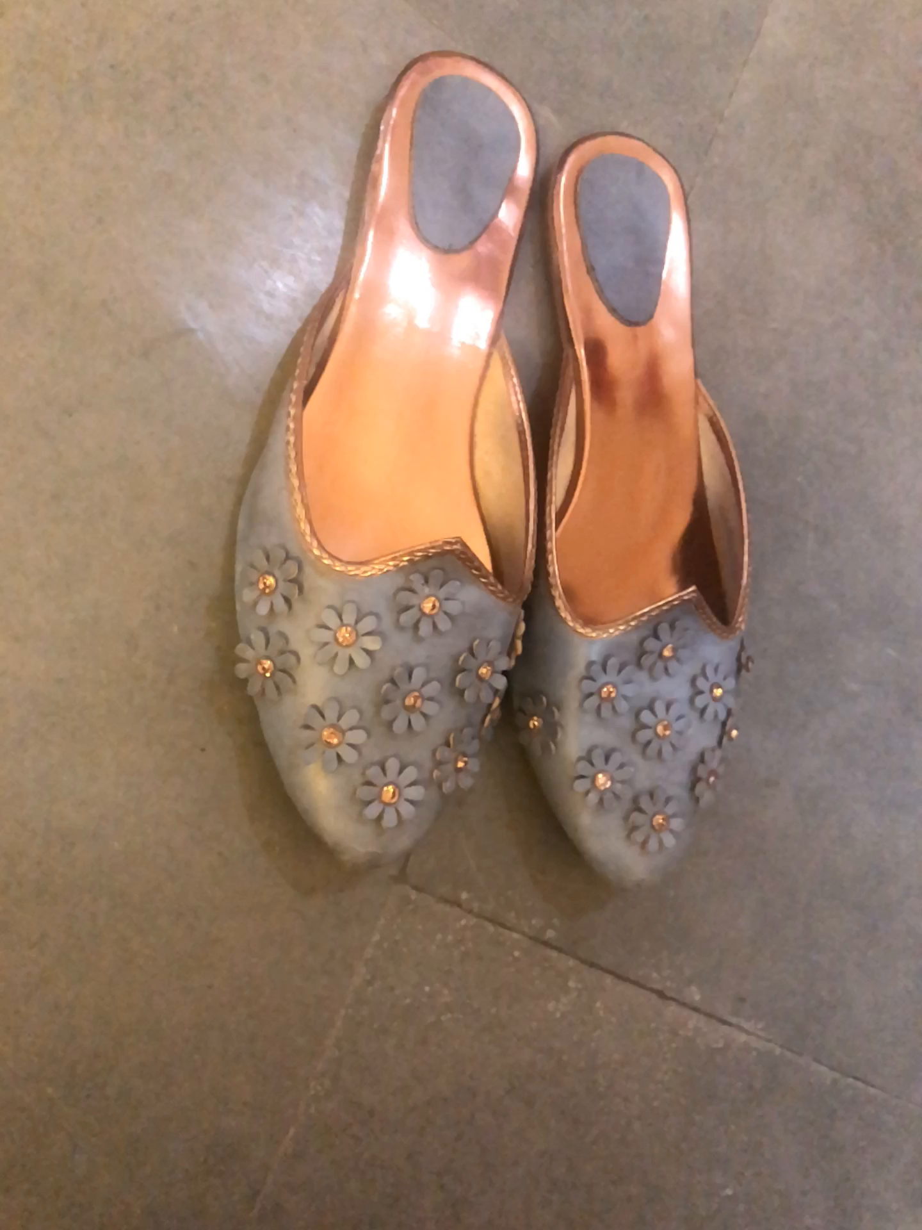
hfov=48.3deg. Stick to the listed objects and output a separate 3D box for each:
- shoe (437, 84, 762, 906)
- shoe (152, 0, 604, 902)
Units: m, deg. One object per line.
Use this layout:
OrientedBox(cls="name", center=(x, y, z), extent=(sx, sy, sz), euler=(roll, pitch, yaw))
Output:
OrientedBox(cls="shoe", center=(0.052, -0.038, 0.377), extent=(0.100, 0.050, 0.270), euler=(4, 85, -24))
OrientedBox(cls="shoe", center=(-0.024, -0.051, 0.335), extent=(0.100, 0.050, 0.270), euler=(10, 82, -23))
